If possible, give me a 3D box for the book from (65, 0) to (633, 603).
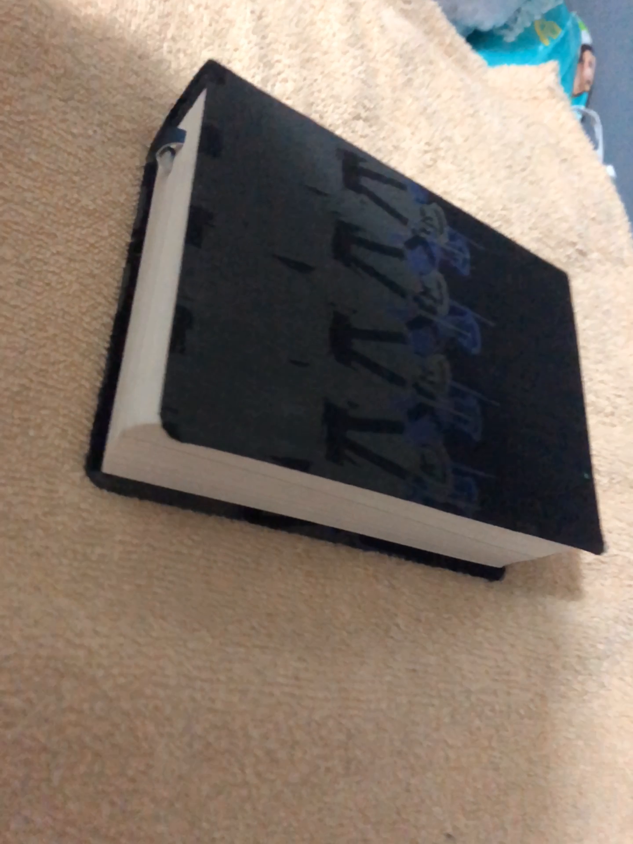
[{"bbox_3d":[0.029,-0.025,0.242,0.191,0.050,0.140,19,60,-32],"label":"book"}]
